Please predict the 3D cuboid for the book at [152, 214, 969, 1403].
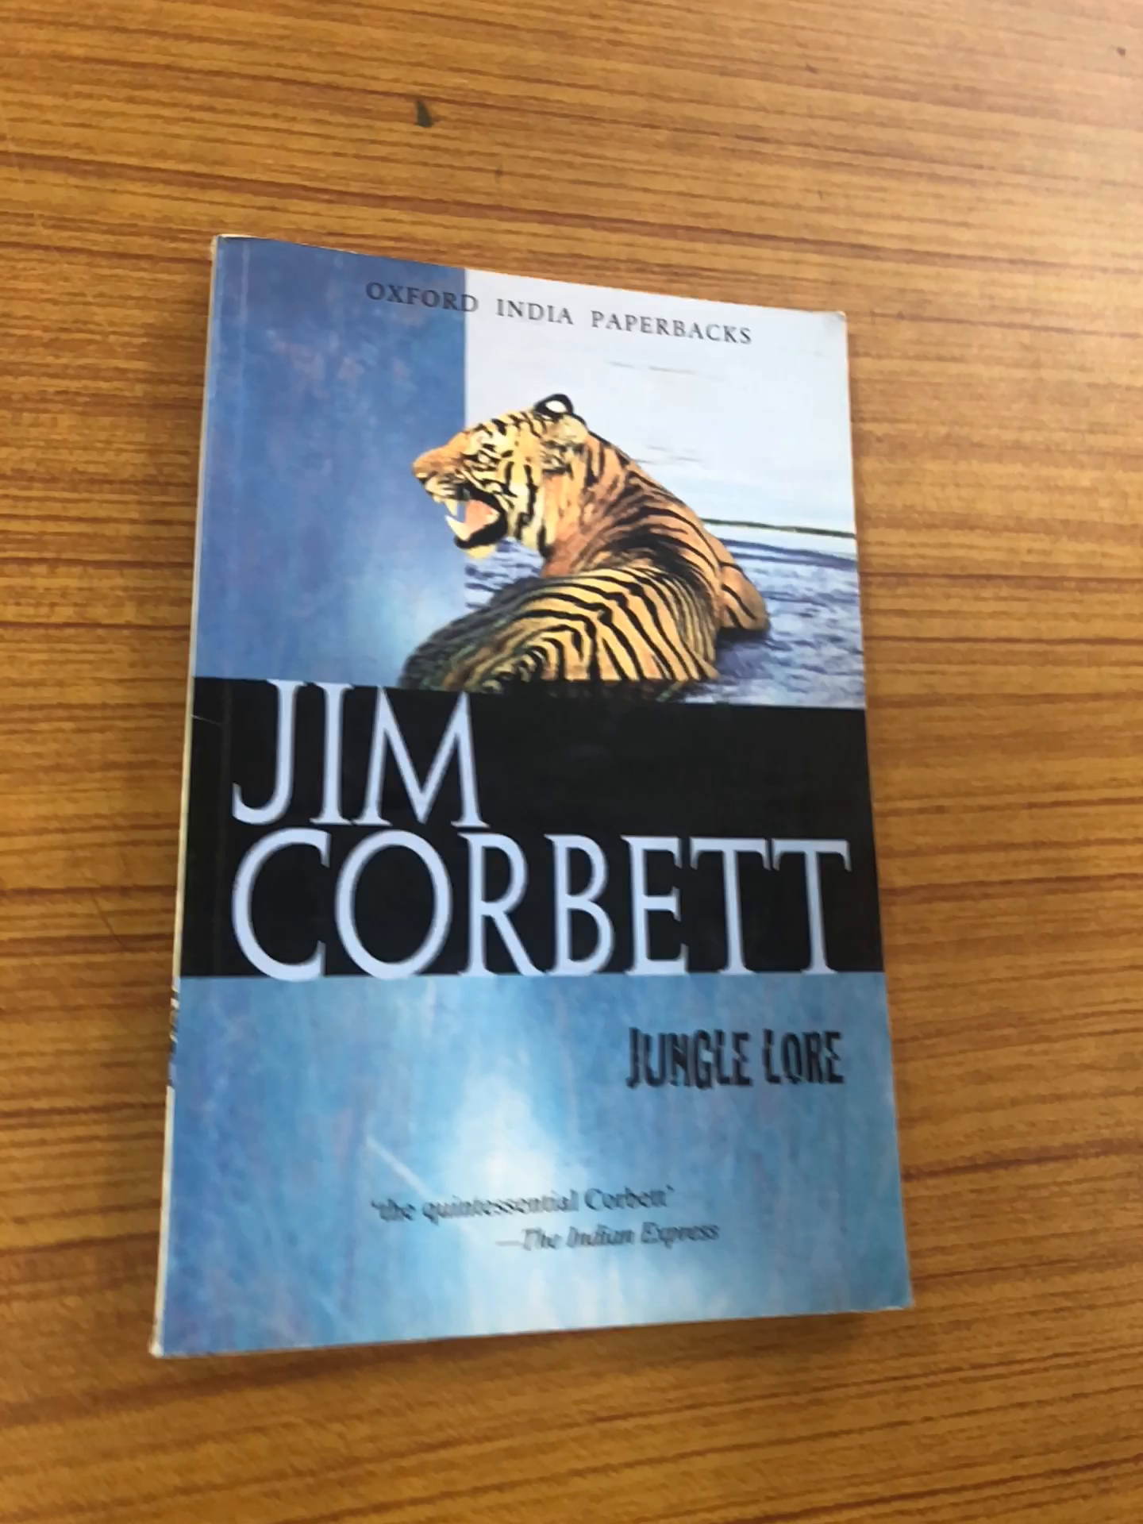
[{"bbox_3d":[0.001,0.002,0.256,0.150,0.010,0.220,2,78,-14],"label":"book"}]
